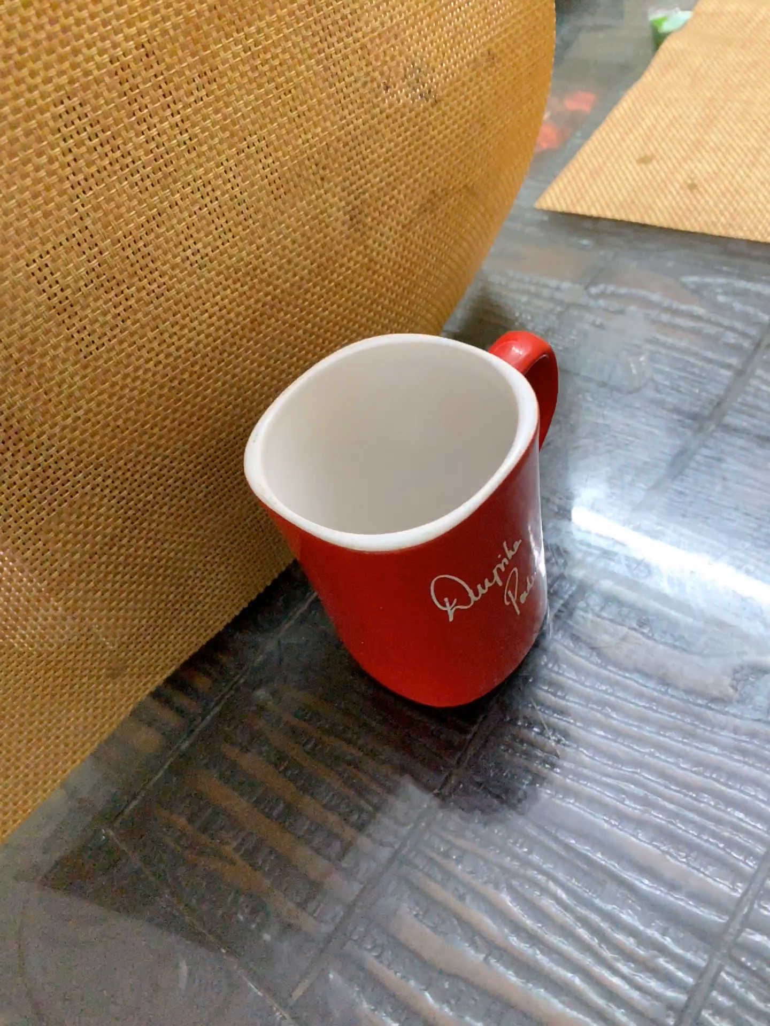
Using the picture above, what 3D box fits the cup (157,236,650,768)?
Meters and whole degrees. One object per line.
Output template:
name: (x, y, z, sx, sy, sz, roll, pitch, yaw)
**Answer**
cup: (0.013, -0.005, 0.220, 0.070, 0.079, 0.100, 30, 65, 33)
